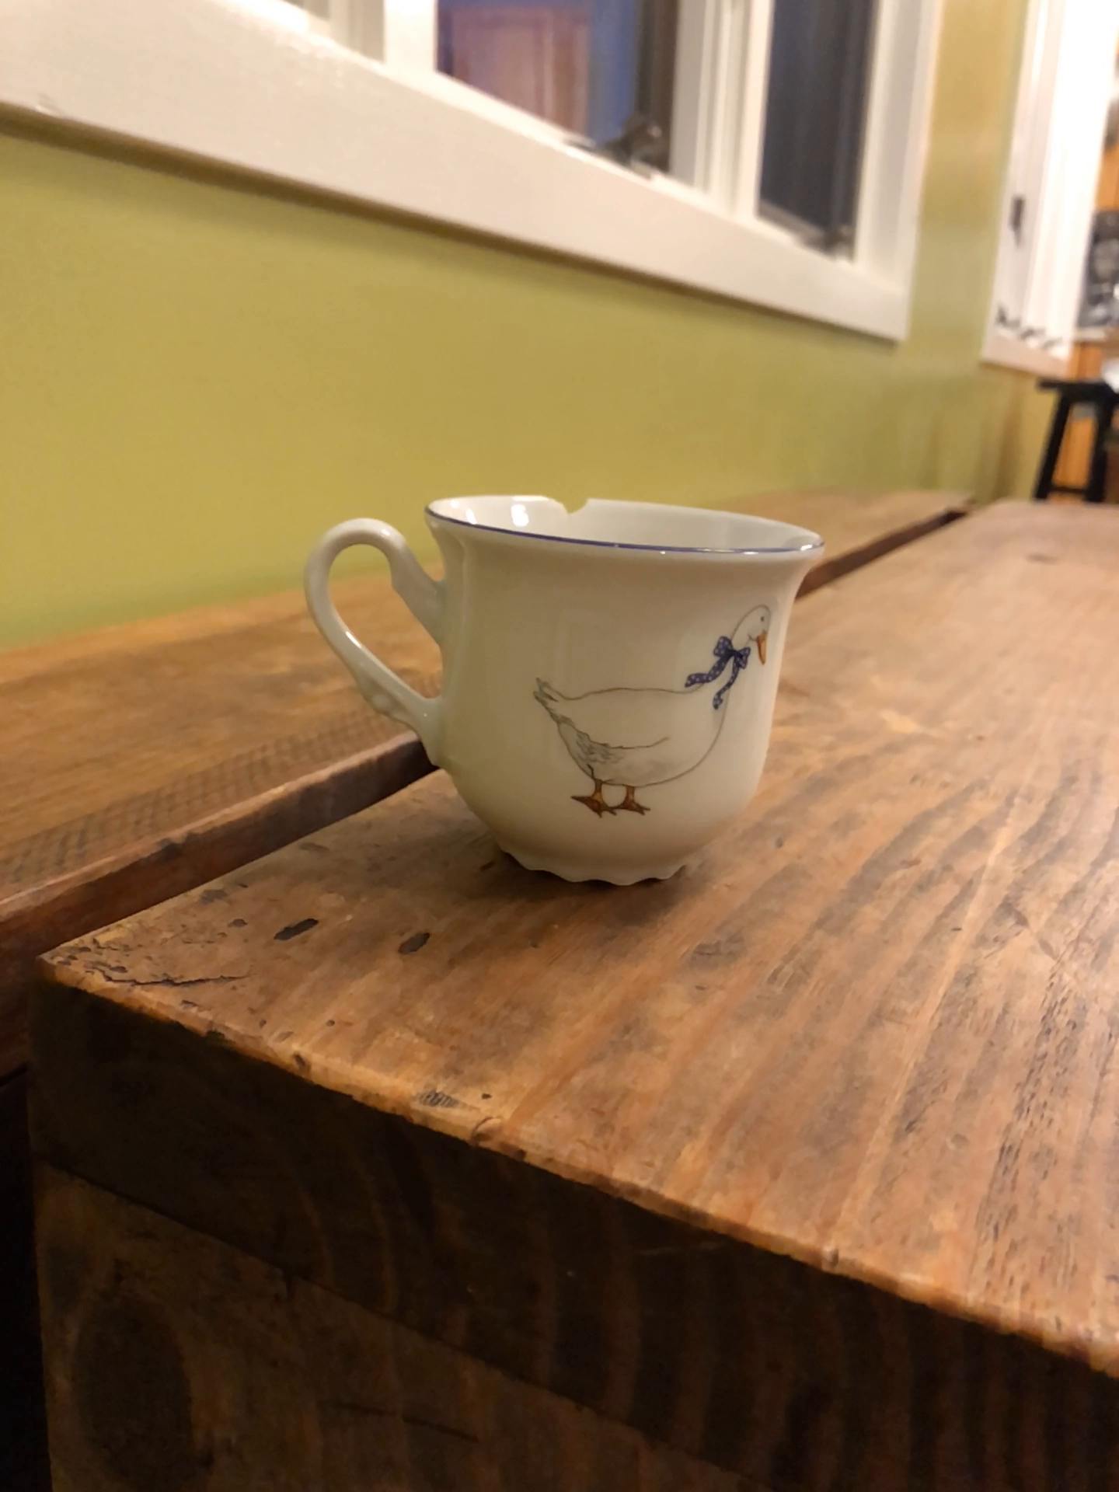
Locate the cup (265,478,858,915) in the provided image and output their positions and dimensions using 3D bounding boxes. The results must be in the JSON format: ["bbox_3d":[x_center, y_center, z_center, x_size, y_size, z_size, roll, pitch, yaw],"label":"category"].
[{"bbox_3d":[0.002,-0.018,0.276,0.107,0.067,0.091,5,18,4],"label":"cup"}]
